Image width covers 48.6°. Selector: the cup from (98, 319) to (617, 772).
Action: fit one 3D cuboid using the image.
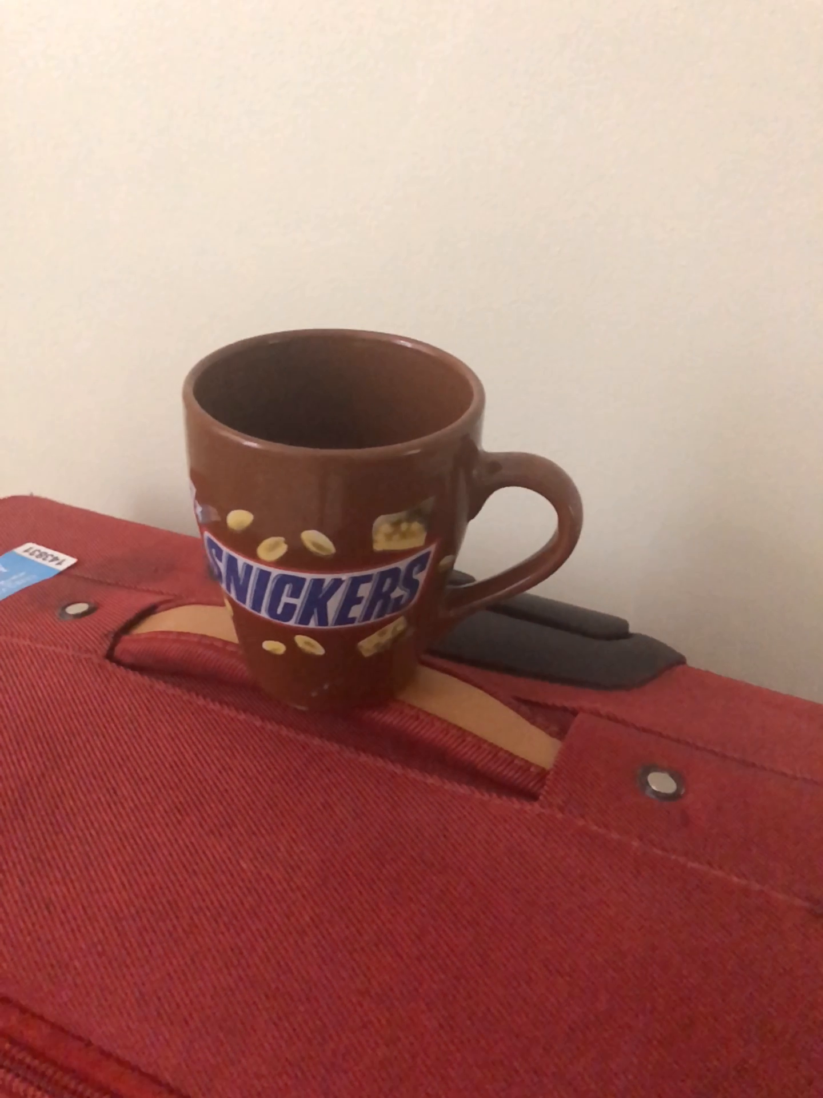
[{"bbox_3d":[-0.008,-0.008,0.265,0.115,0.080,0.088,10,34,16],"label":"cup"}]
